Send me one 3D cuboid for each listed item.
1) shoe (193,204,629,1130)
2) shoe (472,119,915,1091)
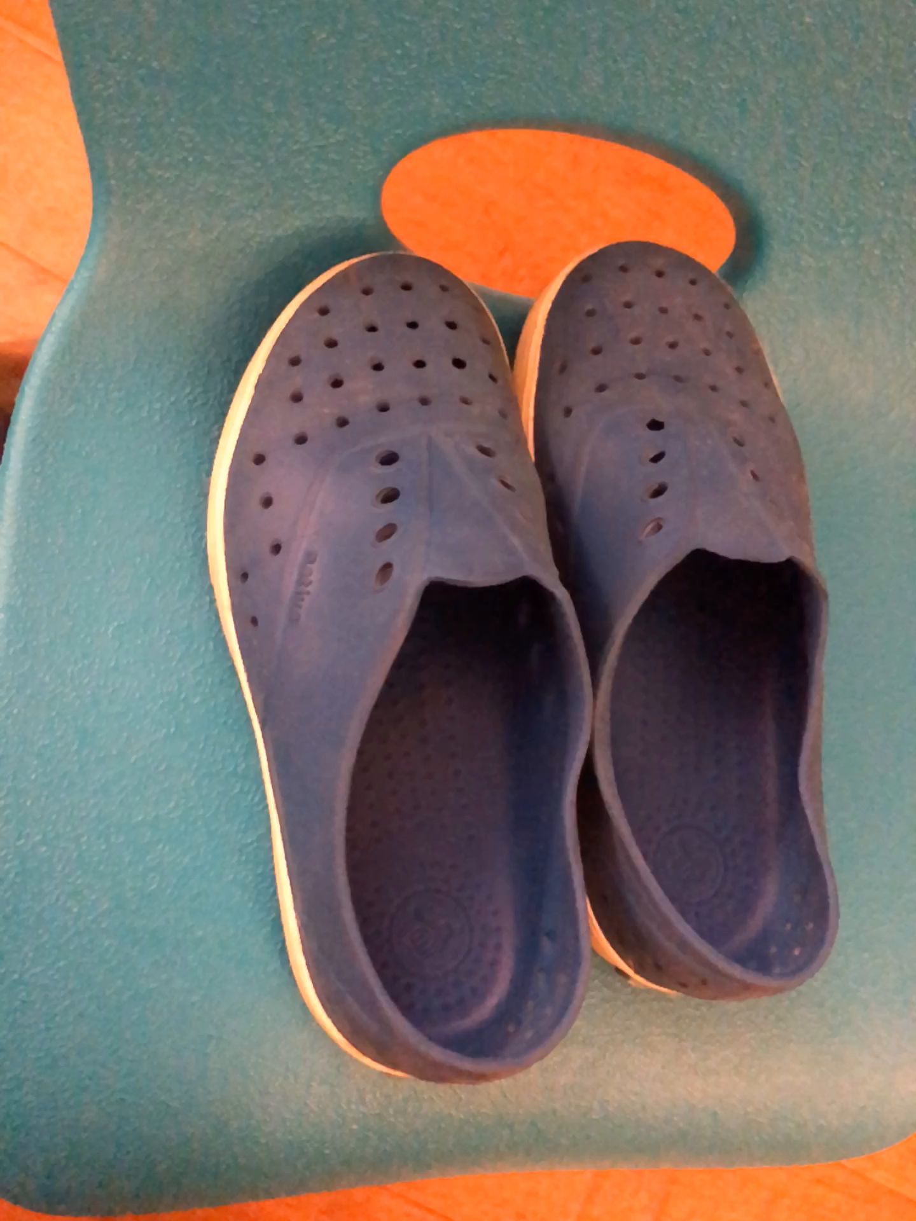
[{"bbox_3d":[-0.022,0.011,0.279,0.090,0.080,0.210,-1,80,-16],"label":"shoe"},{"bbox_3d":[0.071,-0.006,0.293,0.100,0.070,0.240,-1,80,-16],"label":"shoe"}]
